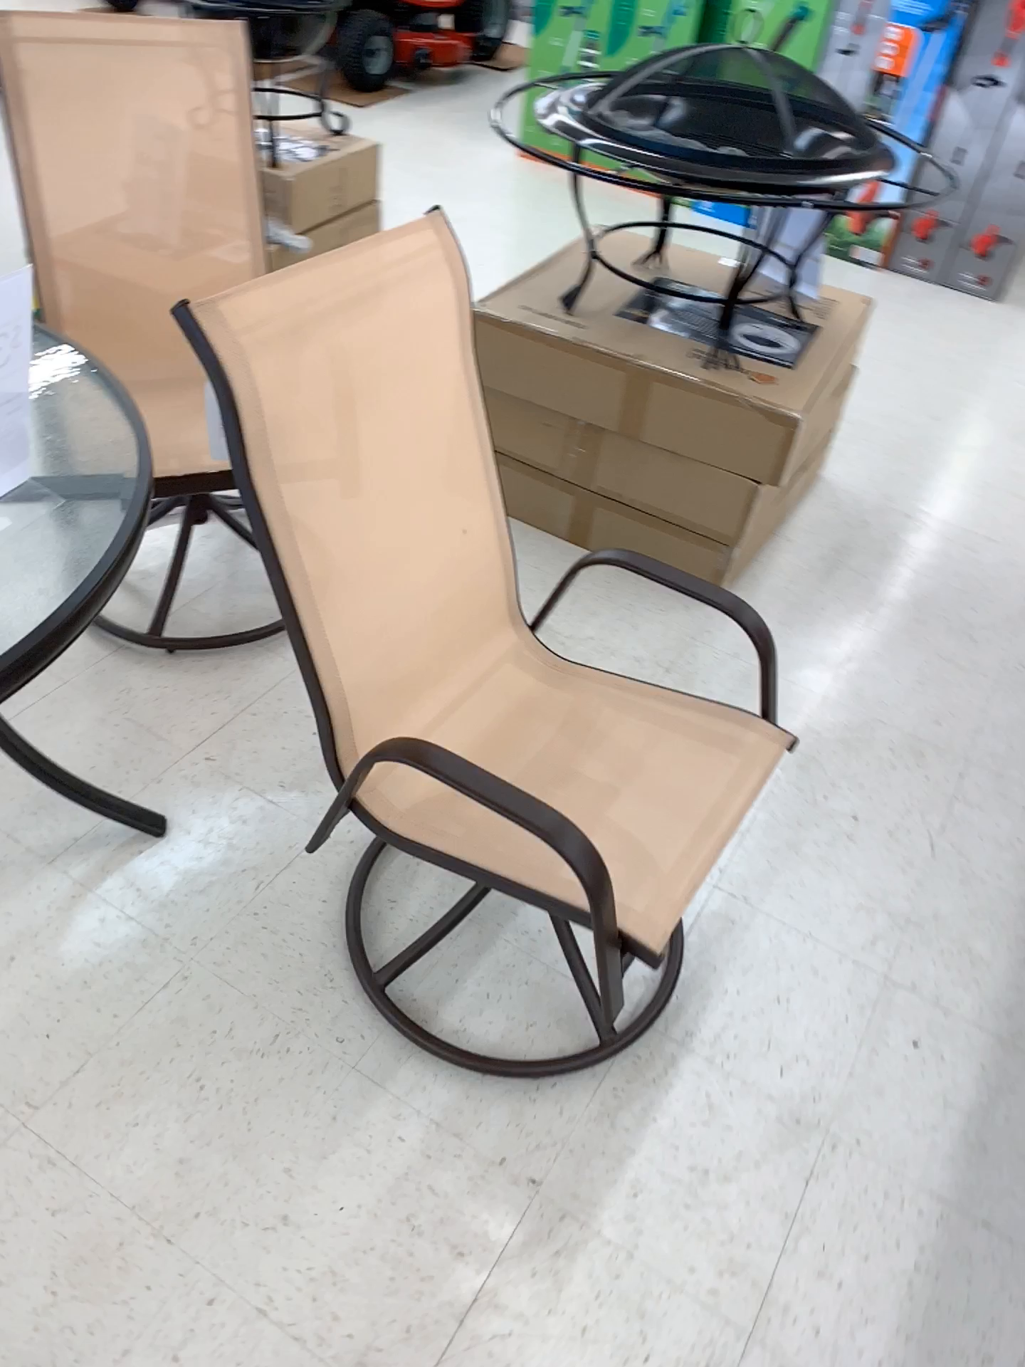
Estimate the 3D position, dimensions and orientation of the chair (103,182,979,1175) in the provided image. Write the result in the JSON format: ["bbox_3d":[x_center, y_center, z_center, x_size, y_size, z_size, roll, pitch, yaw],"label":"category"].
[{"bbox_3d":[0.006,-0.003,1.372,0.708,0.956,0.570,26,44,19],"label":"chair"}]

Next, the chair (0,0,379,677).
[{"bbox_3d":[-0.612,-0.632,1.942,0.568,0.956,0.710,-6,43,-16],"label":"chair"}]
